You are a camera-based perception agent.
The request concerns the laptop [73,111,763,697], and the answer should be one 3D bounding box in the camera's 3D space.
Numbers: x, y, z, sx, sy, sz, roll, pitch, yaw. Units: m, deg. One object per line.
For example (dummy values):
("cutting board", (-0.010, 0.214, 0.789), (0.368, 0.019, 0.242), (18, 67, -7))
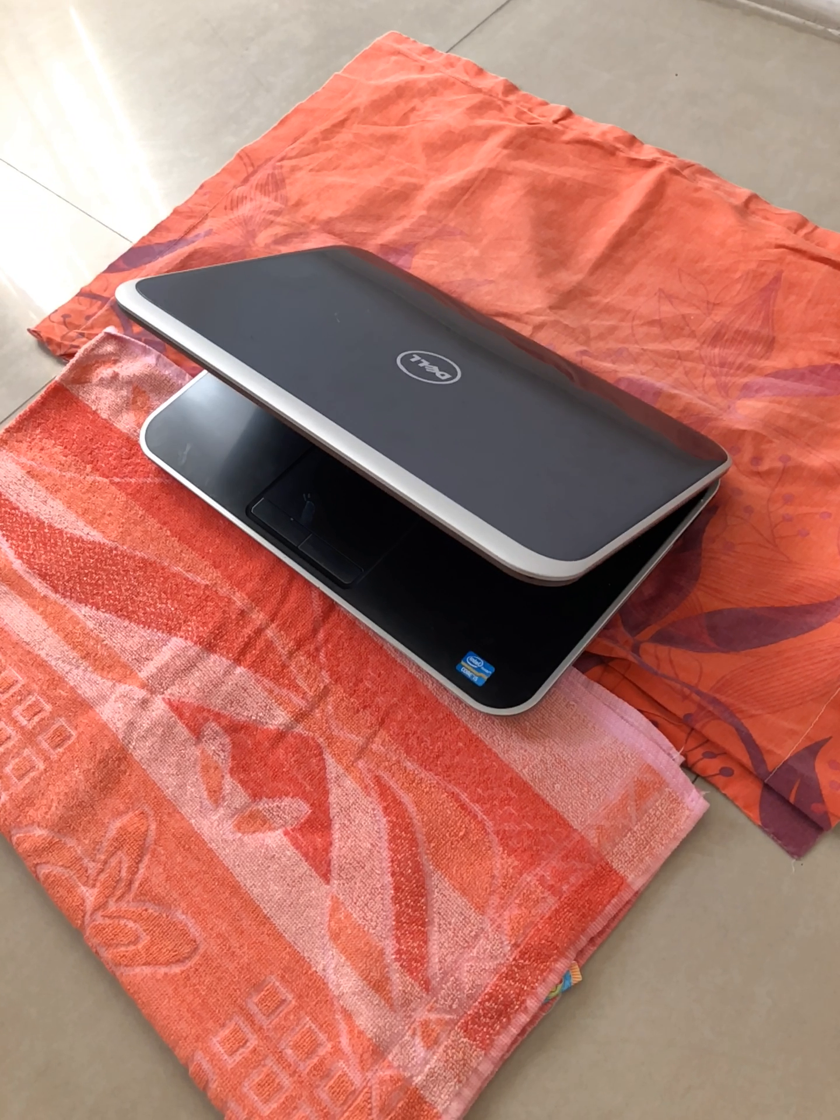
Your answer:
("laptop", (-0.001, -0.120, 0.616), (0.345, 0.129, 0.242), (34, 68, 22))
